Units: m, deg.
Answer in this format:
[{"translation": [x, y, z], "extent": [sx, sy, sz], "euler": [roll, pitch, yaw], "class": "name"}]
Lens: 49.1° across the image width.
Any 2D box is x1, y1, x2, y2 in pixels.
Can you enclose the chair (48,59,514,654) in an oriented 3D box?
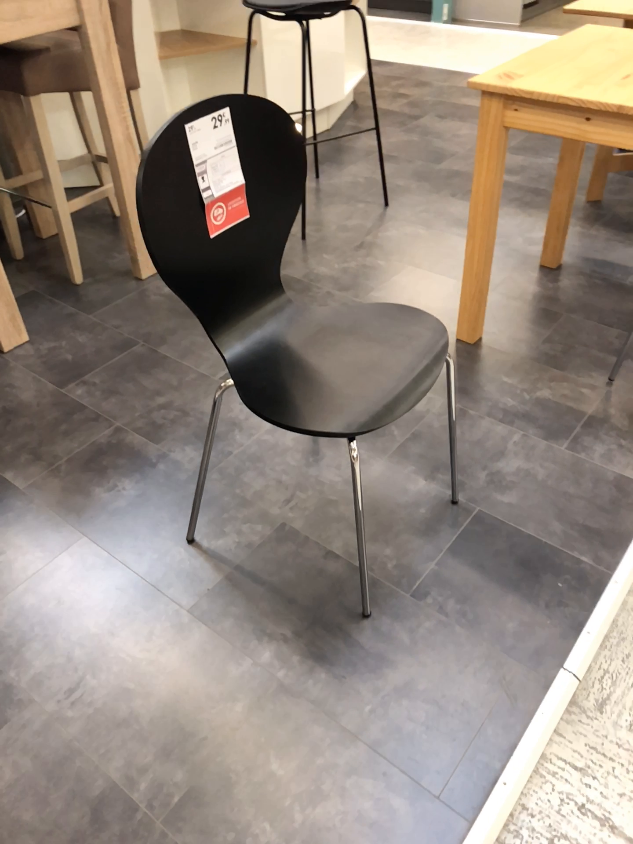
[{"translation": [-0.027, -0.118, 1.321], "extent": [0.500, 0.895, 0.493], "euler": [24, 47, 29], "class": "chair"}]
